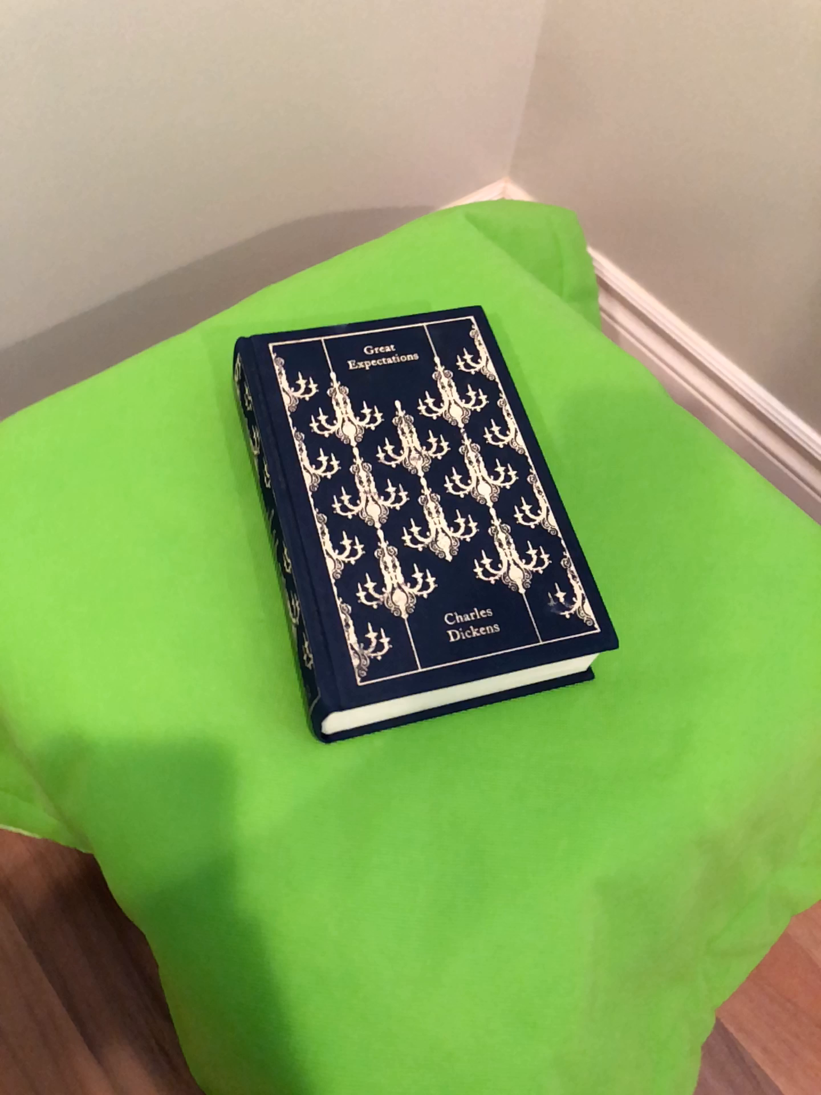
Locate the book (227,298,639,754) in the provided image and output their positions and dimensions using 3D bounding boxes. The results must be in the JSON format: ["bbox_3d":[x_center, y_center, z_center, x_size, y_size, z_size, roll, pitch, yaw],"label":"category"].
[{"bbox_3d":[0.001,-0.022,0.440,0.140,0.040,0.210,-11,62,-13],"label":"book"}]
